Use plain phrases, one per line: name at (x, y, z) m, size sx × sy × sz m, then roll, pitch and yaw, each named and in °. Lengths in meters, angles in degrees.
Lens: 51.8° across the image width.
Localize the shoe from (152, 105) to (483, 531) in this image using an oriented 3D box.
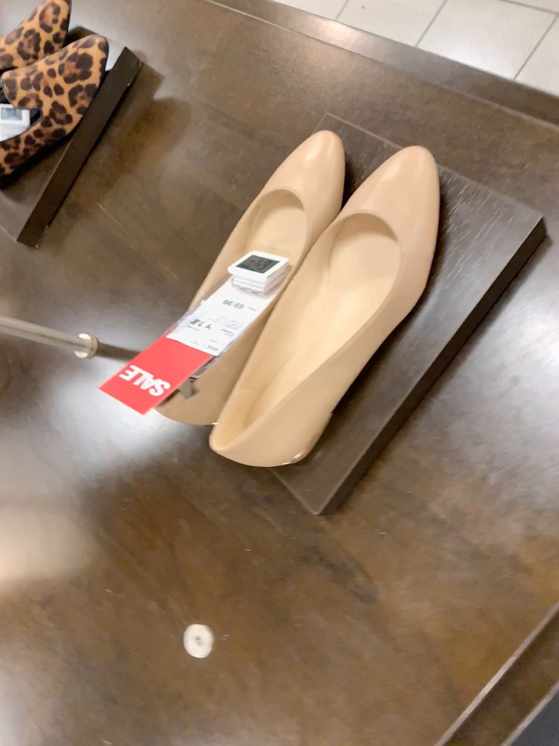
shoe at (0.025, -0.031, 0.381) m, size 0.090 × 0.080 × 0.250 m, roll 29°, pitch 95°, yaw 33°

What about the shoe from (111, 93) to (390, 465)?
shoe at (-0.021, -0.067, 0.435) m, size 0.090 × 0.080 × 0.250 m, roll 25°, pitch 92°, yaw 33°
